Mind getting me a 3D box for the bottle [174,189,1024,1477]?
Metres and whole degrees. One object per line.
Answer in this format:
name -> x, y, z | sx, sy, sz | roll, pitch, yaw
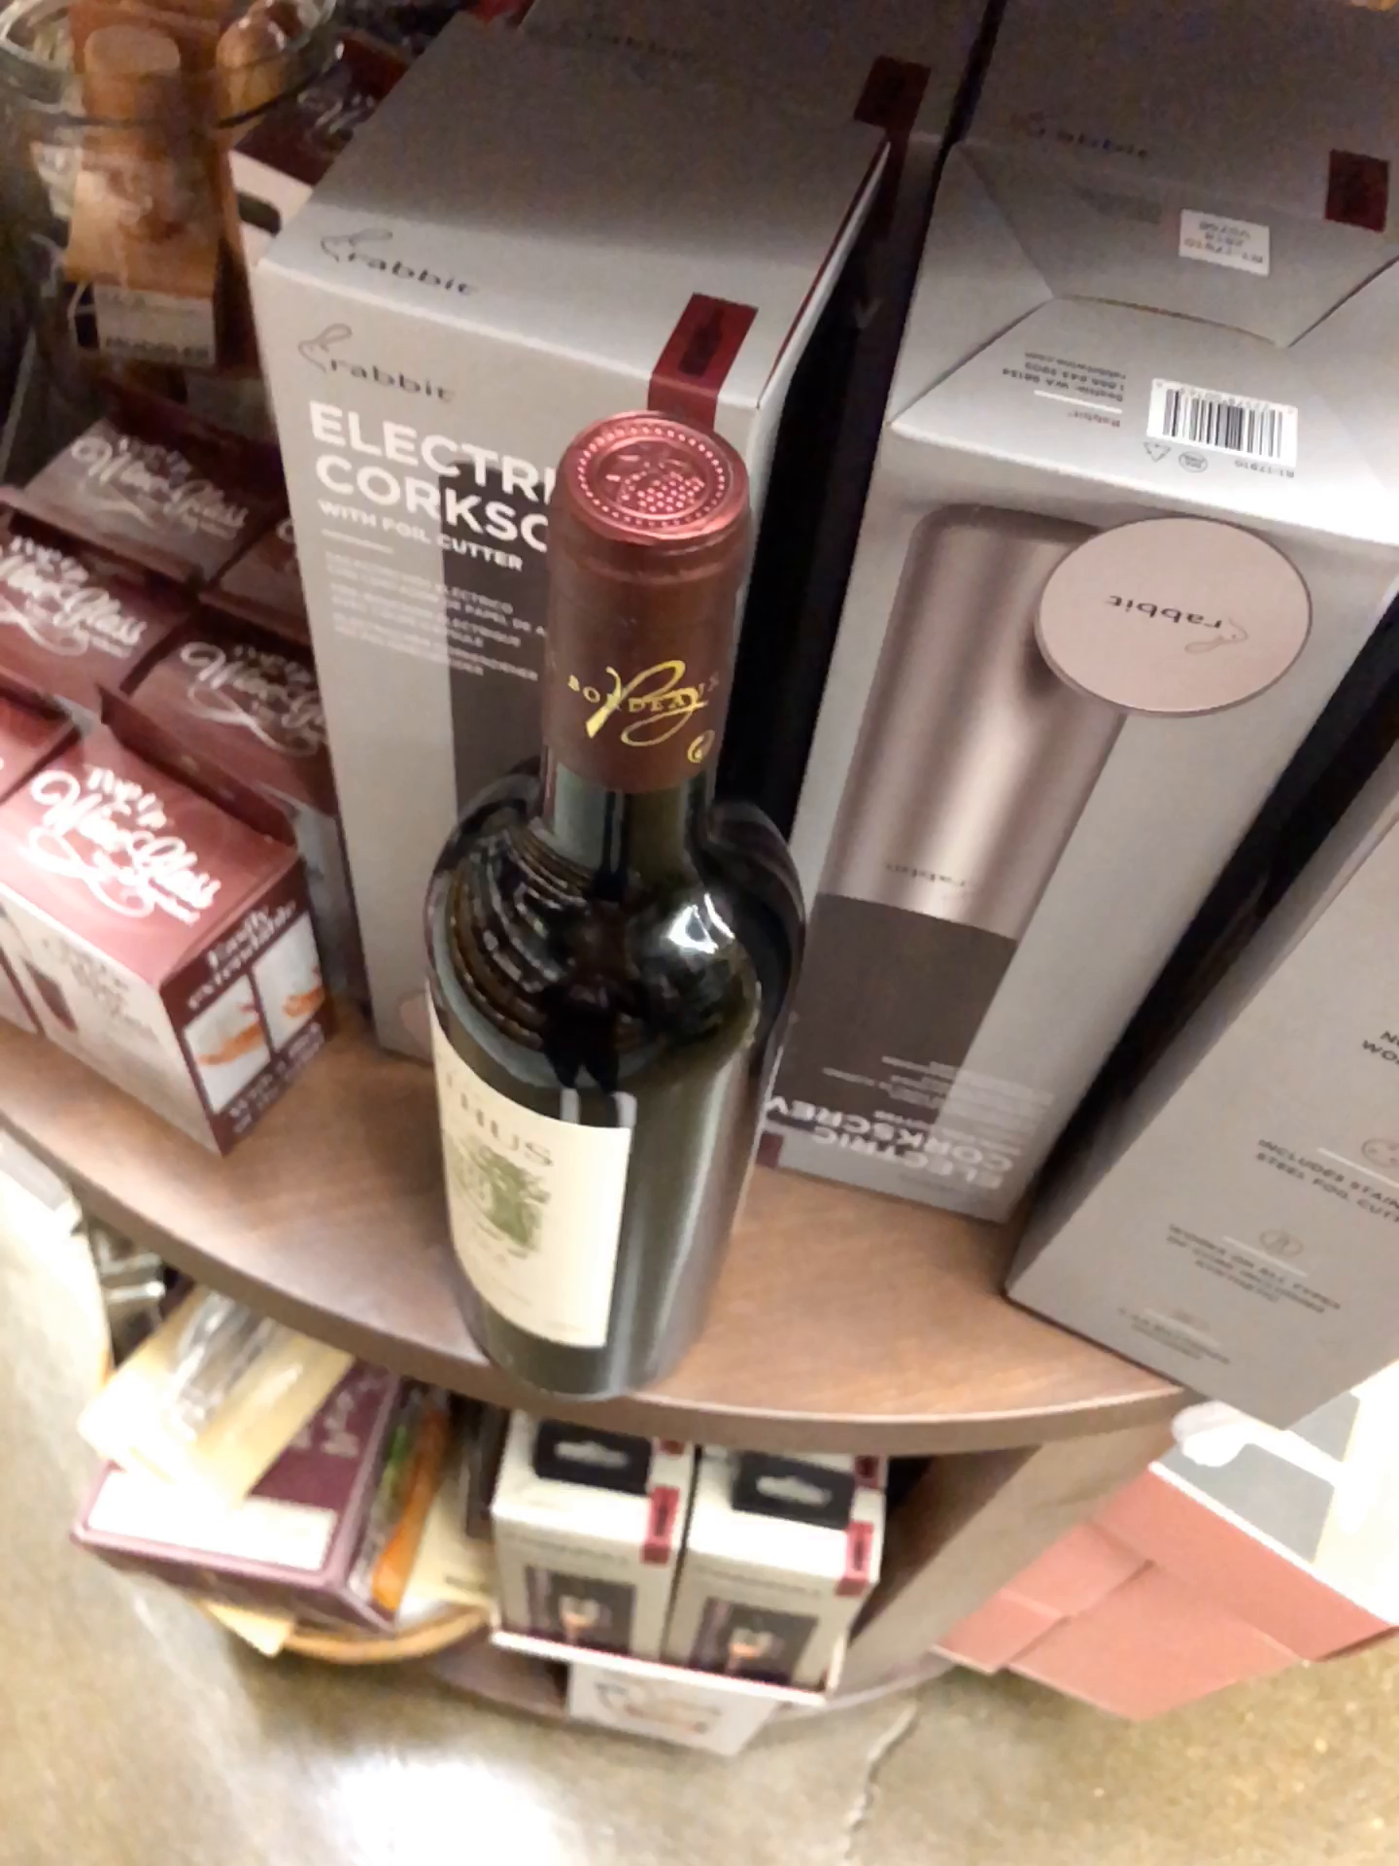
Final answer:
bottle -> -0.024, 0.017, 0.327 | 0.080, 0.299, 0.080 | 2, 56, -3
